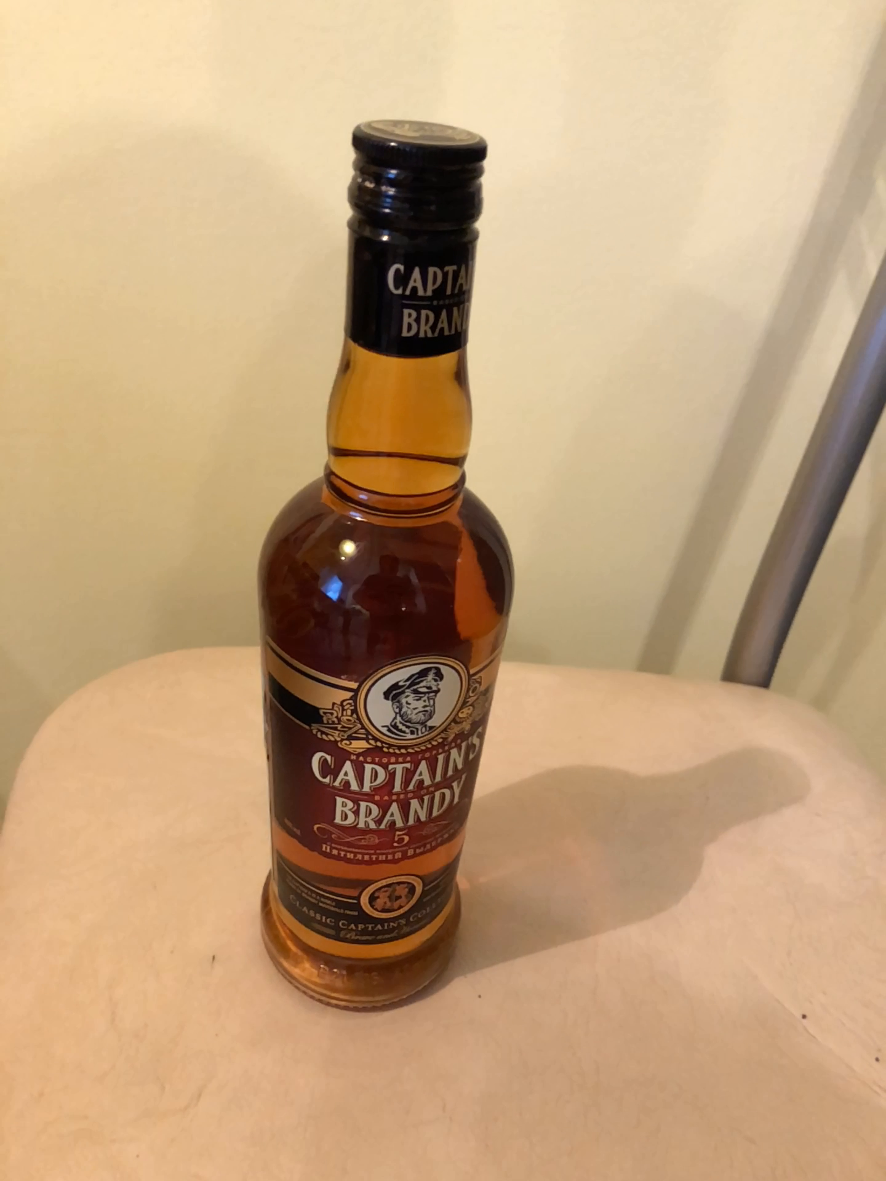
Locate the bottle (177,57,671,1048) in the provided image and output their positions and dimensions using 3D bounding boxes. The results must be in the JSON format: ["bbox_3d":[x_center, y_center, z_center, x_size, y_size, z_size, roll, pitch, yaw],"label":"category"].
[{"bbox_3d":[-0.016,0.009,0.263,0.080,0.258,0.070,-7,36,-15],"label":"bottle"}]
